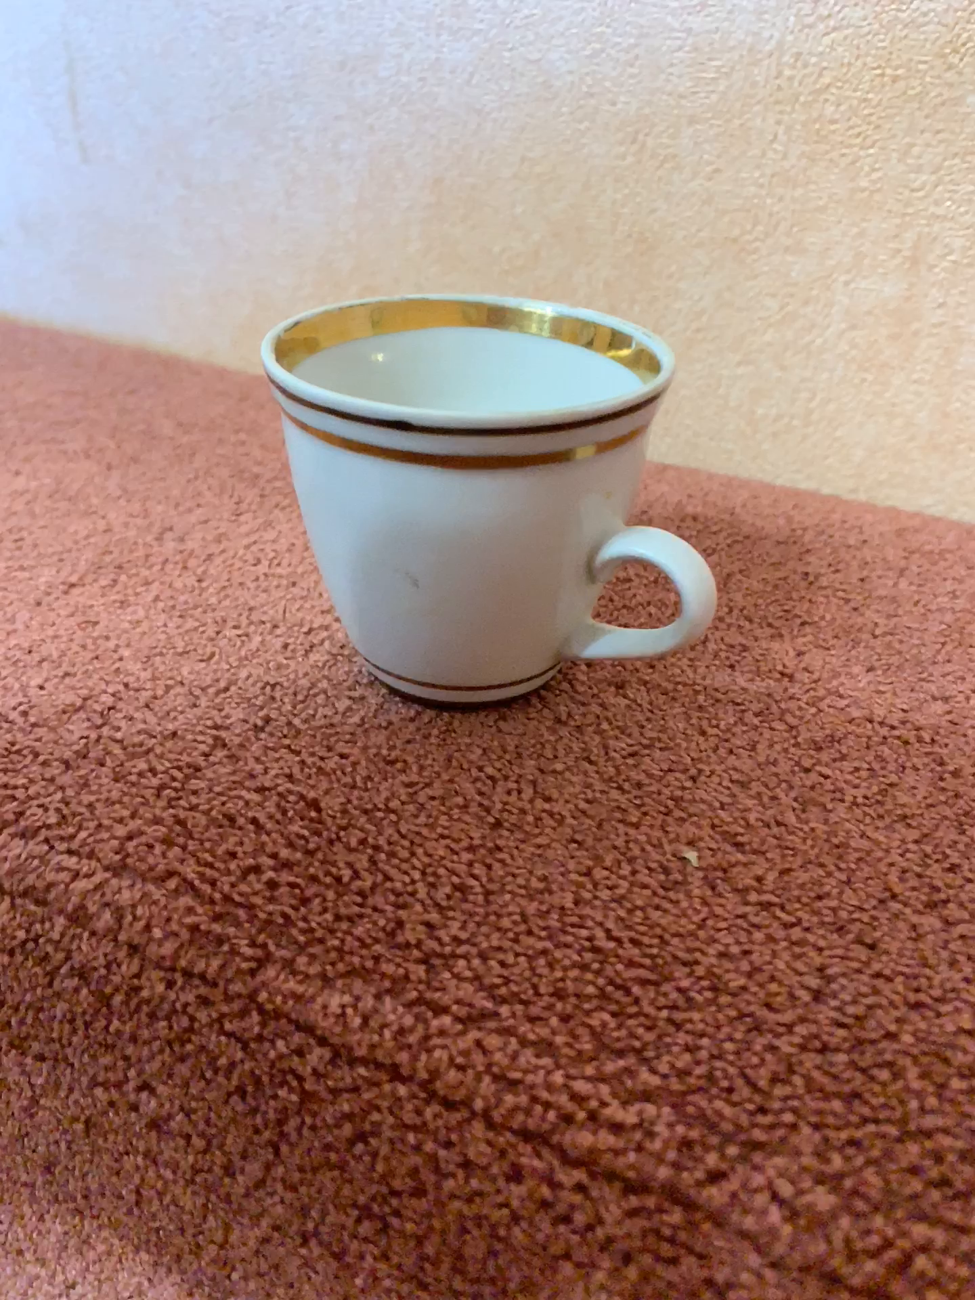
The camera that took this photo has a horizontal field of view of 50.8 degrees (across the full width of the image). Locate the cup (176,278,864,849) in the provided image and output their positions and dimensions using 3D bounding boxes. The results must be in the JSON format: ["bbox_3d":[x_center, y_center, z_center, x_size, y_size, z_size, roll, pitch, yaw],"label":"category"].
[{"bbox_3d":[0.004,-0.020,0.155,0.078,0.048,0.055,23,39,30],"label":"cup"}]
